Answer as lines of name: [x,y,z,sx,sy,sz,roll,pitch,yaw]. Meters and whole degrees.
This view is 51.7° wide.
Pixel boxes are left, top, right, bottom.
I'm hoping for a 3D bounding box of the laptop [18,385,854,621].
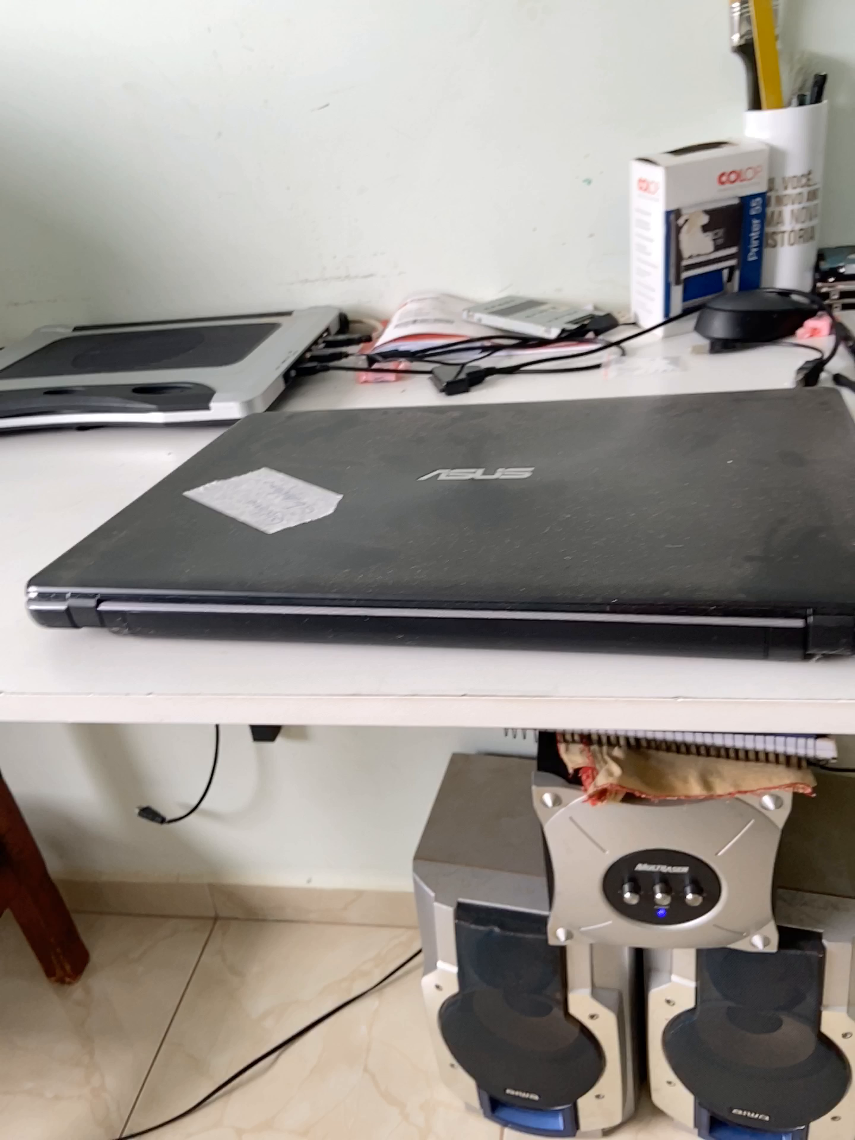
laptop: [0.025,-0.046,0.470,0.385,0.007,0.252,0,29,17]
